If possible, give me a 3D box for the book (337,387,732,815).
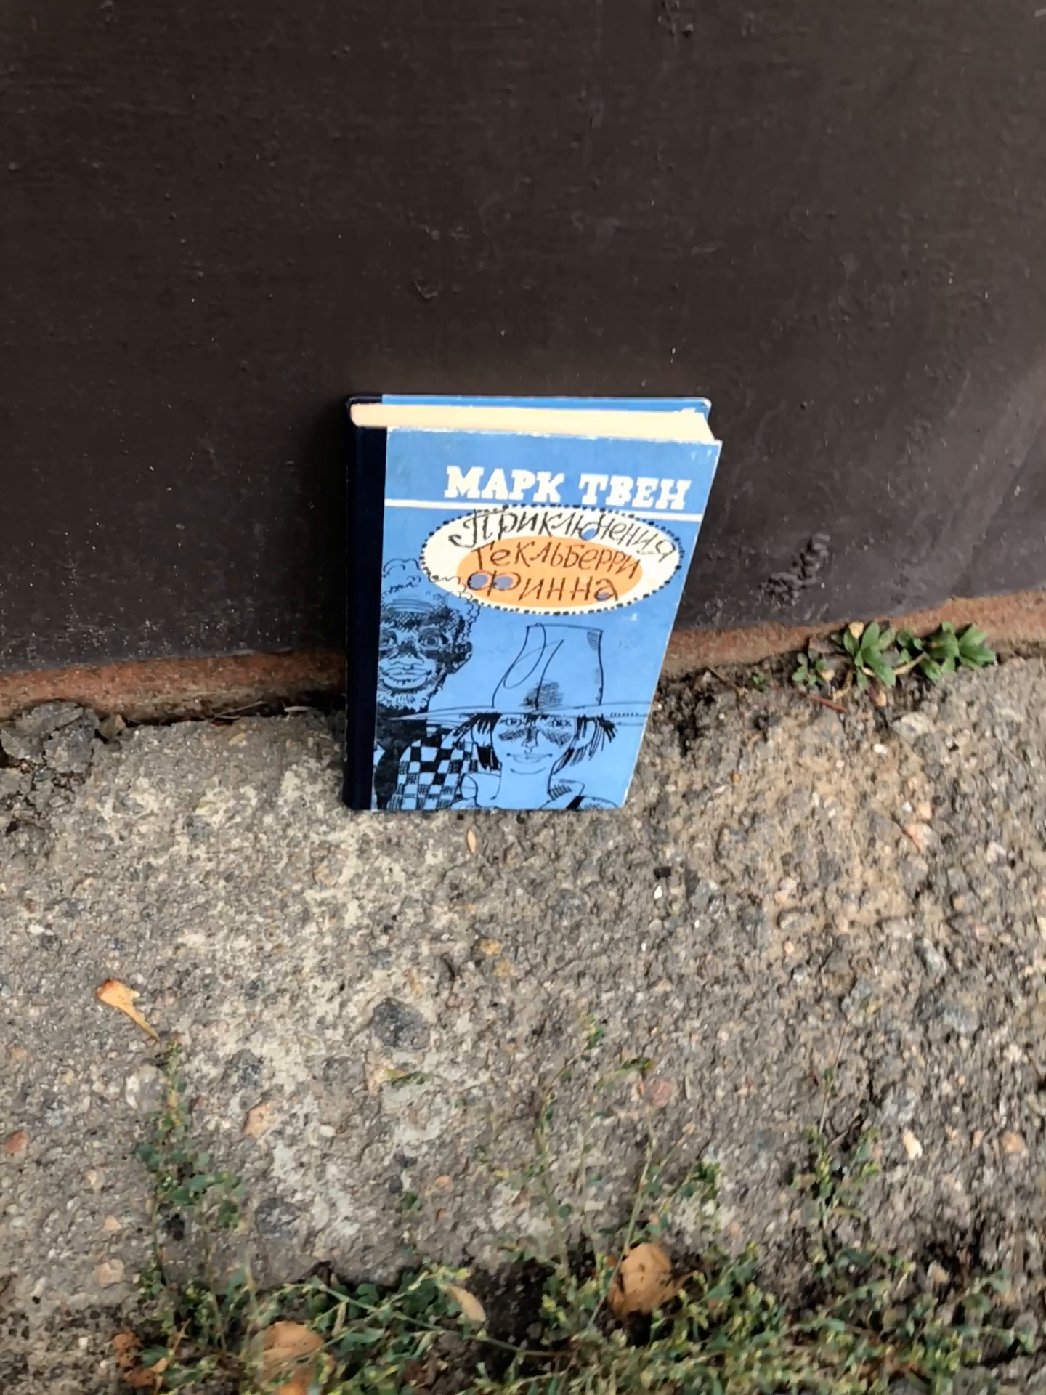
[{"bbox_3d":[-0.002,-0.027,0.452,0.130,0.186,0.030,0,43,-5],"label":"book"}]
